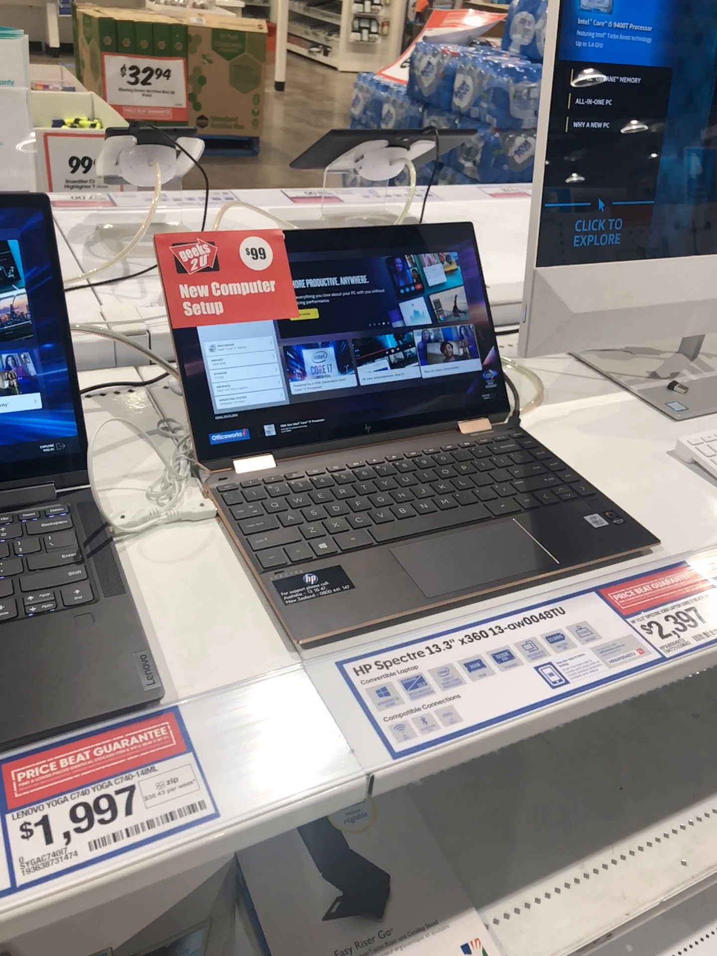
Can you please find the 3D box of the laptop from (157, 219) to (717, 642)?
[{"bbox_3d":[0.035,-0.072,0.609,0.298,0.147,0.315,-10,37,-24],"label":"laptop"}]
